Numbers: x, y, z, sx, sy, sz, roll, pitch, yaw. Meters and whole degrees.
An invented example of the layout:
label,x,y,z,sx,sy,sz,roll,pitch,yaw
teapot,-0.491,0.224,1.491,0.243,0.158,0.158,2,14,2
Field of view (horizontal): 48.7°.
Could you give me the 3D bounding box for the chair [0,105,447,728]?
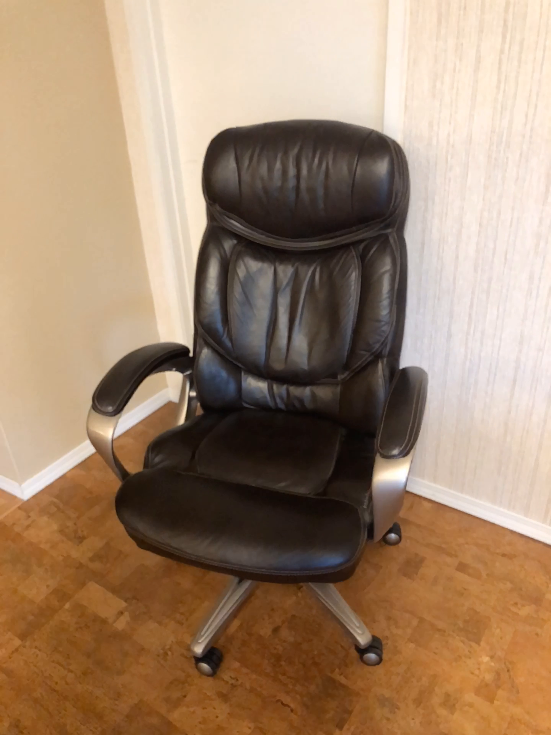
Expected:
label,x,y,z,sx,sy,sz,roll,pitch,yaw
chair,-0.039,0.071,1.320,0.690,1.086,0.652,5,31,14
